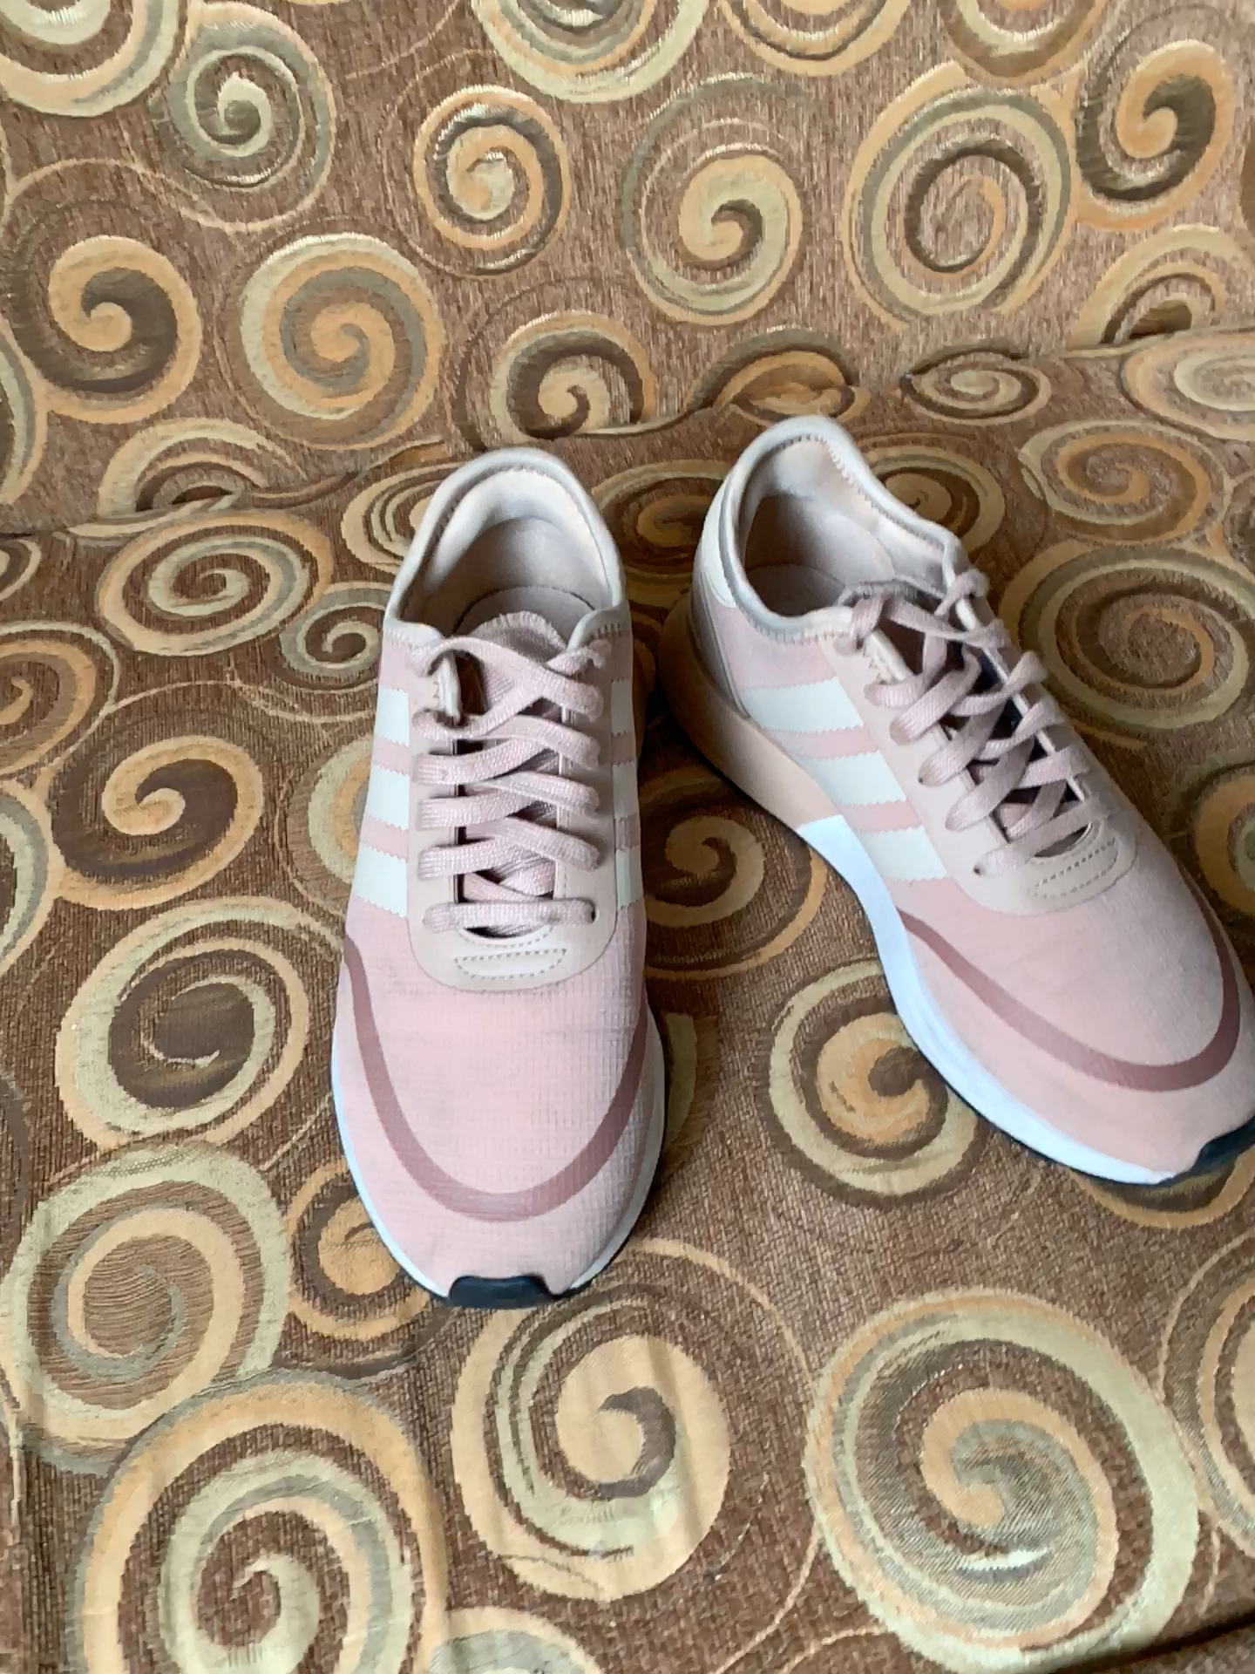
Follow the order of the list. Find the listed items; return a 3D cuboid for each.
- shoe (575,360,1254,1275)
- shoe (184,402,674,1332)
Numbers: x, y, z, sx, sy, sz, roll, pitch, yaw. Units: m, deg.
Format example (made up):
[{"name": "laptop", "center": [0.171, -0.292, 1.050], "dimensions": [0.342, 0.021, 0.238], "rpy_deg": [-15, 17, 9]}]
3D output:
[{"name": "shoe", "center": [0.094, -0.017, 0.382], "dimensions": [0.100, 0.090, 0.251], "rpy_deg": [-29, 62, -15]}, {"name": "shoe", "center": [-0.041, -0.001, 0.366], "dimensions": [0.100, 0.090, 0.251], "rpy_deg": [-2, 58, 1]}]
